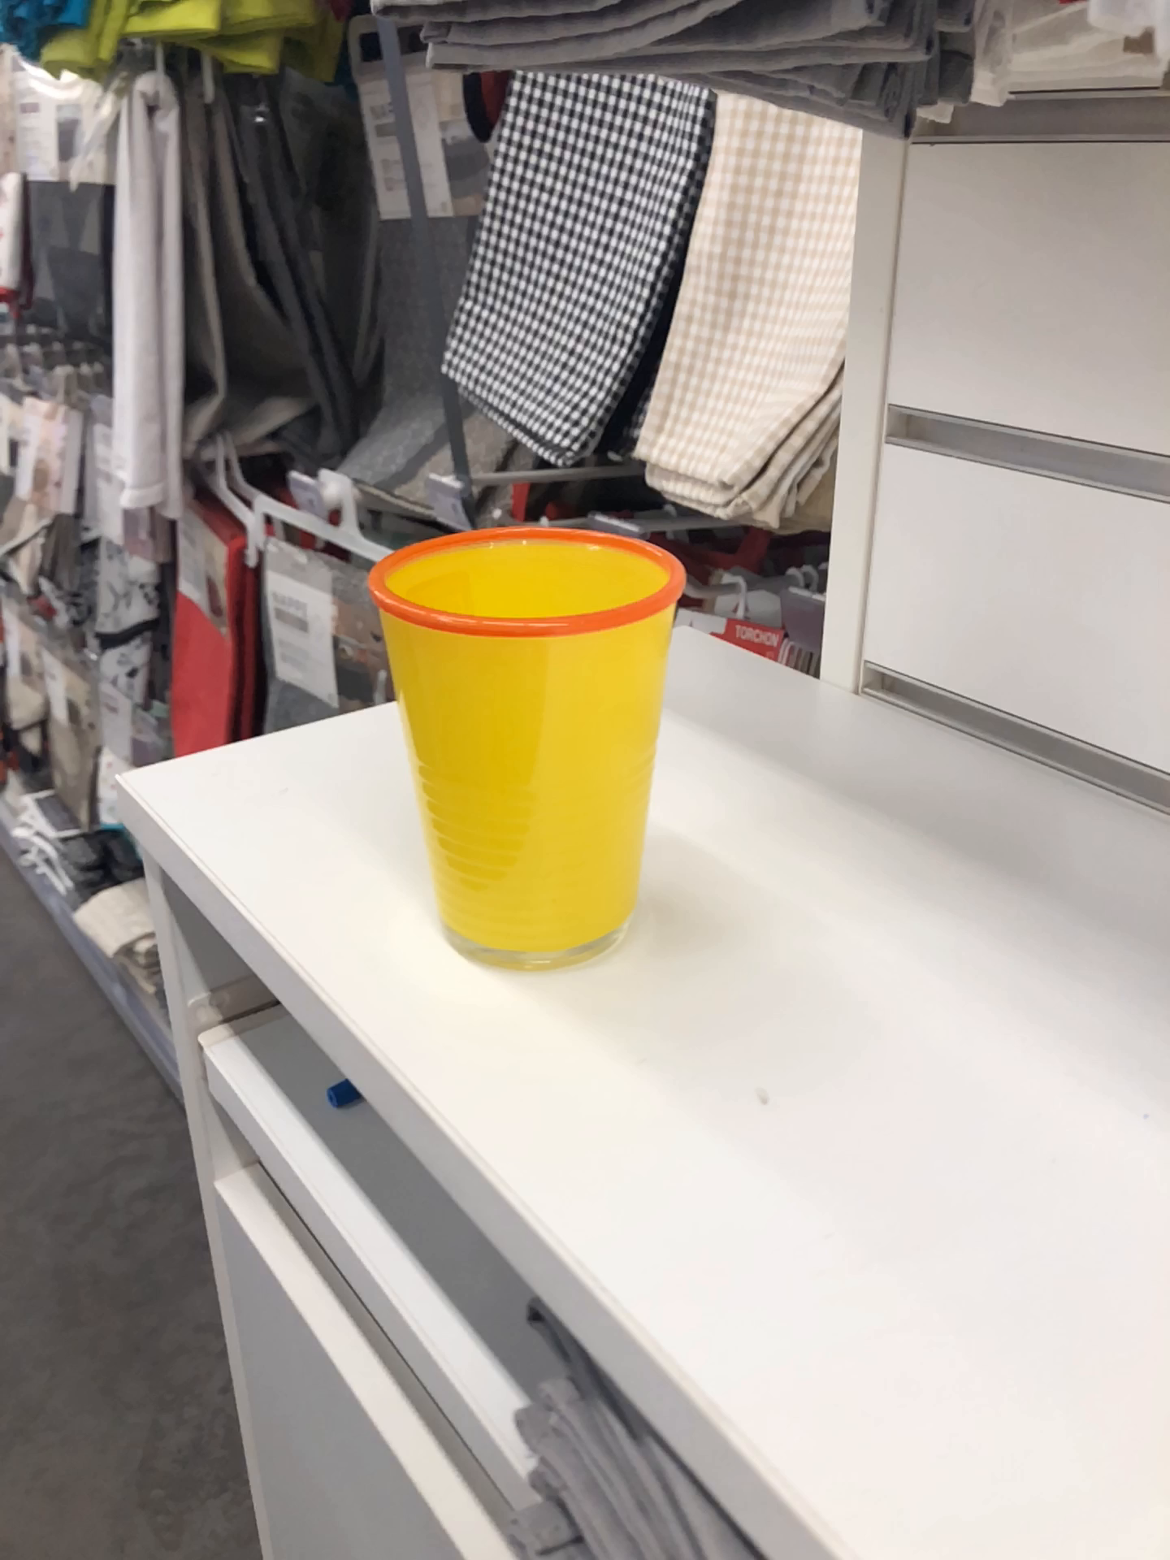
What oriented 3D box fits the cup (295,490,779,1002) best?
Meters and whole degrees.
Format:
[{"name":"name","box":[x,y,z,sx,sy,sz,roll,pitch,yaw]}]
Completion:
[{"name":"cup","box":[-0.010,-0.016,0.341,0.084,0.094,0.089,0,26,0]}]
